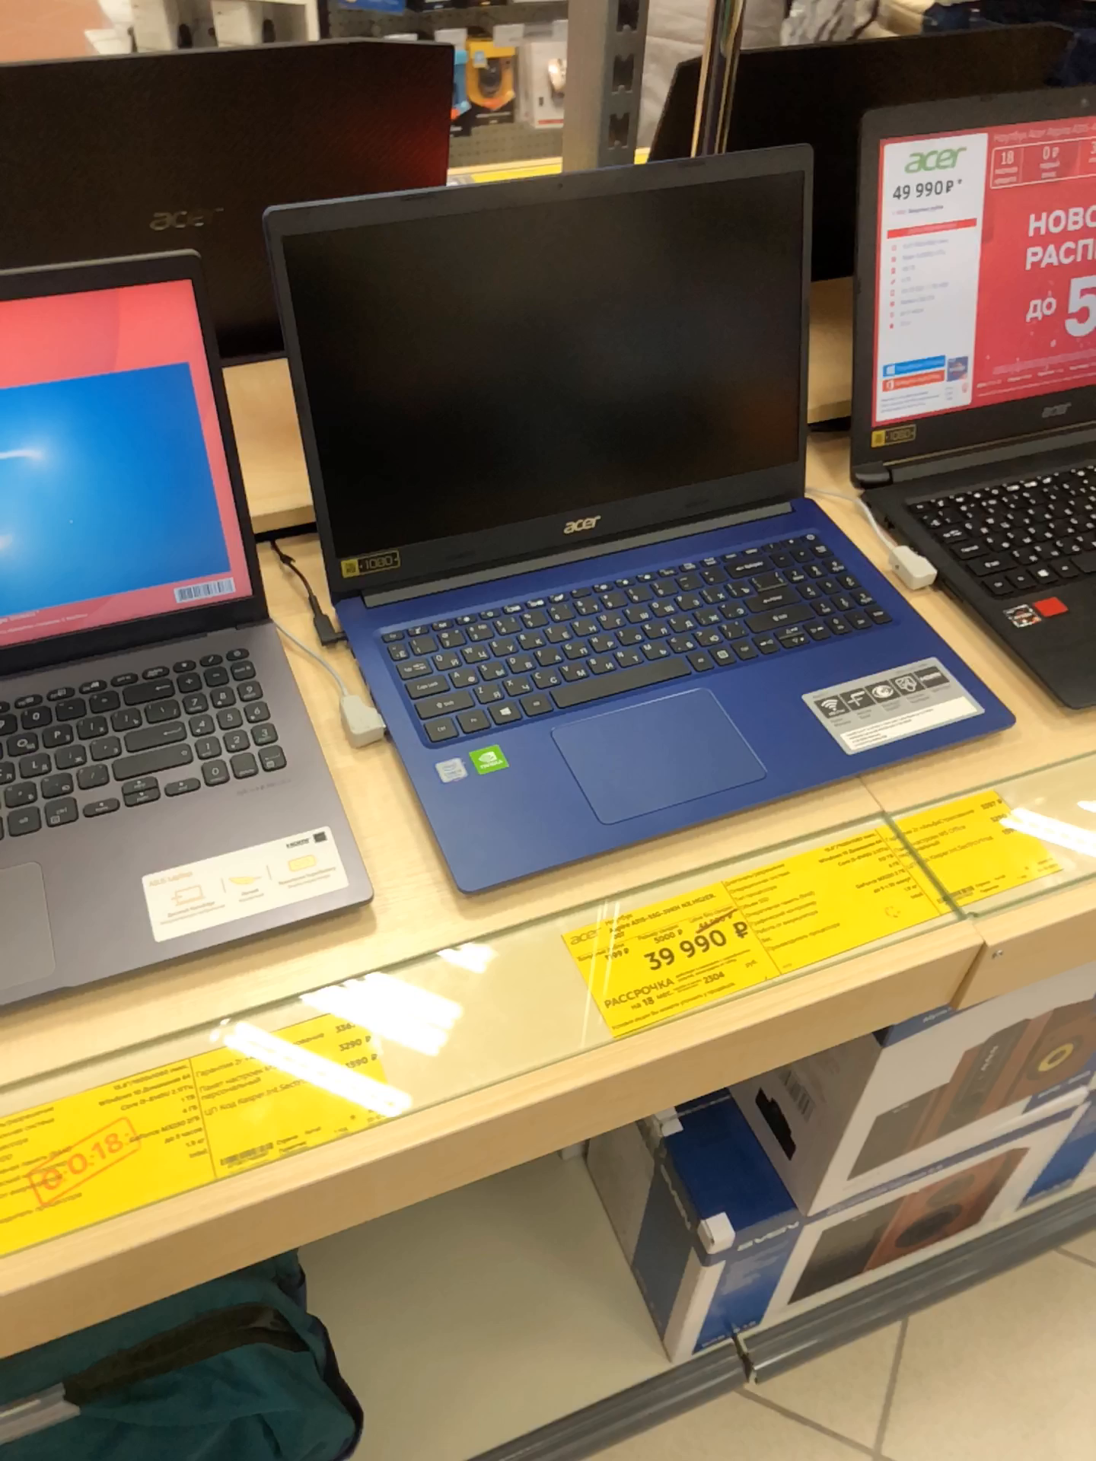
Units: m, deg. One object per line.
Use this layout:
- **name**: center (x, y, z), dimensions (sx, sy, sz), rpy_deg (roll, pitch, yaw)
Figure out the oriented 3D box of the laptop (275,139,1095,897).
- **laptop**: center (0.068, -0.150, 0.710), dimensions (0.358, 0.221, 0.328), rpy_deg (-15, 49, -18)
